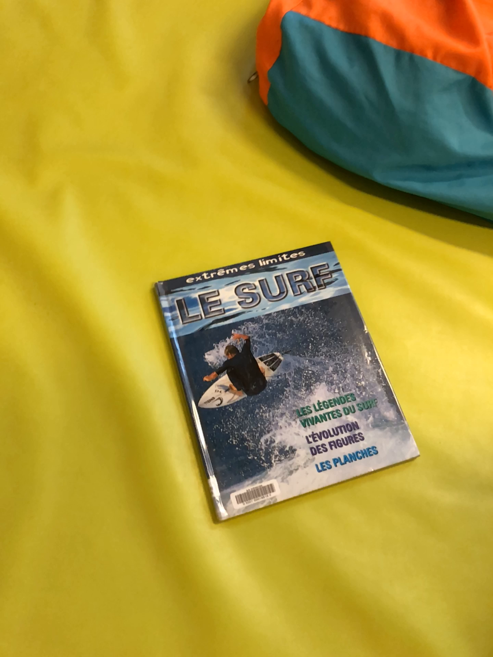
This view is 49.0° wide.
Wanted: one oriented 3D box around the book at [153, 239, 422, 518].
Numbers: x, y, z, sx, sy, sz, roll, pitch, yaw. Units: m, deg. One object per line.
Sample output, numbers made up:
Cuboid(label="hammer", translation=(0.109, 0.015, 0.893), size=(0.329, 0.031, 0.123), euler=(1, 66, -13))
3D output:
Cuboid(label="book", translation=(0.037, 0.039, 0.603), size=(0.226, 0.016, 0.273), euler=(-13, 68, -11))
